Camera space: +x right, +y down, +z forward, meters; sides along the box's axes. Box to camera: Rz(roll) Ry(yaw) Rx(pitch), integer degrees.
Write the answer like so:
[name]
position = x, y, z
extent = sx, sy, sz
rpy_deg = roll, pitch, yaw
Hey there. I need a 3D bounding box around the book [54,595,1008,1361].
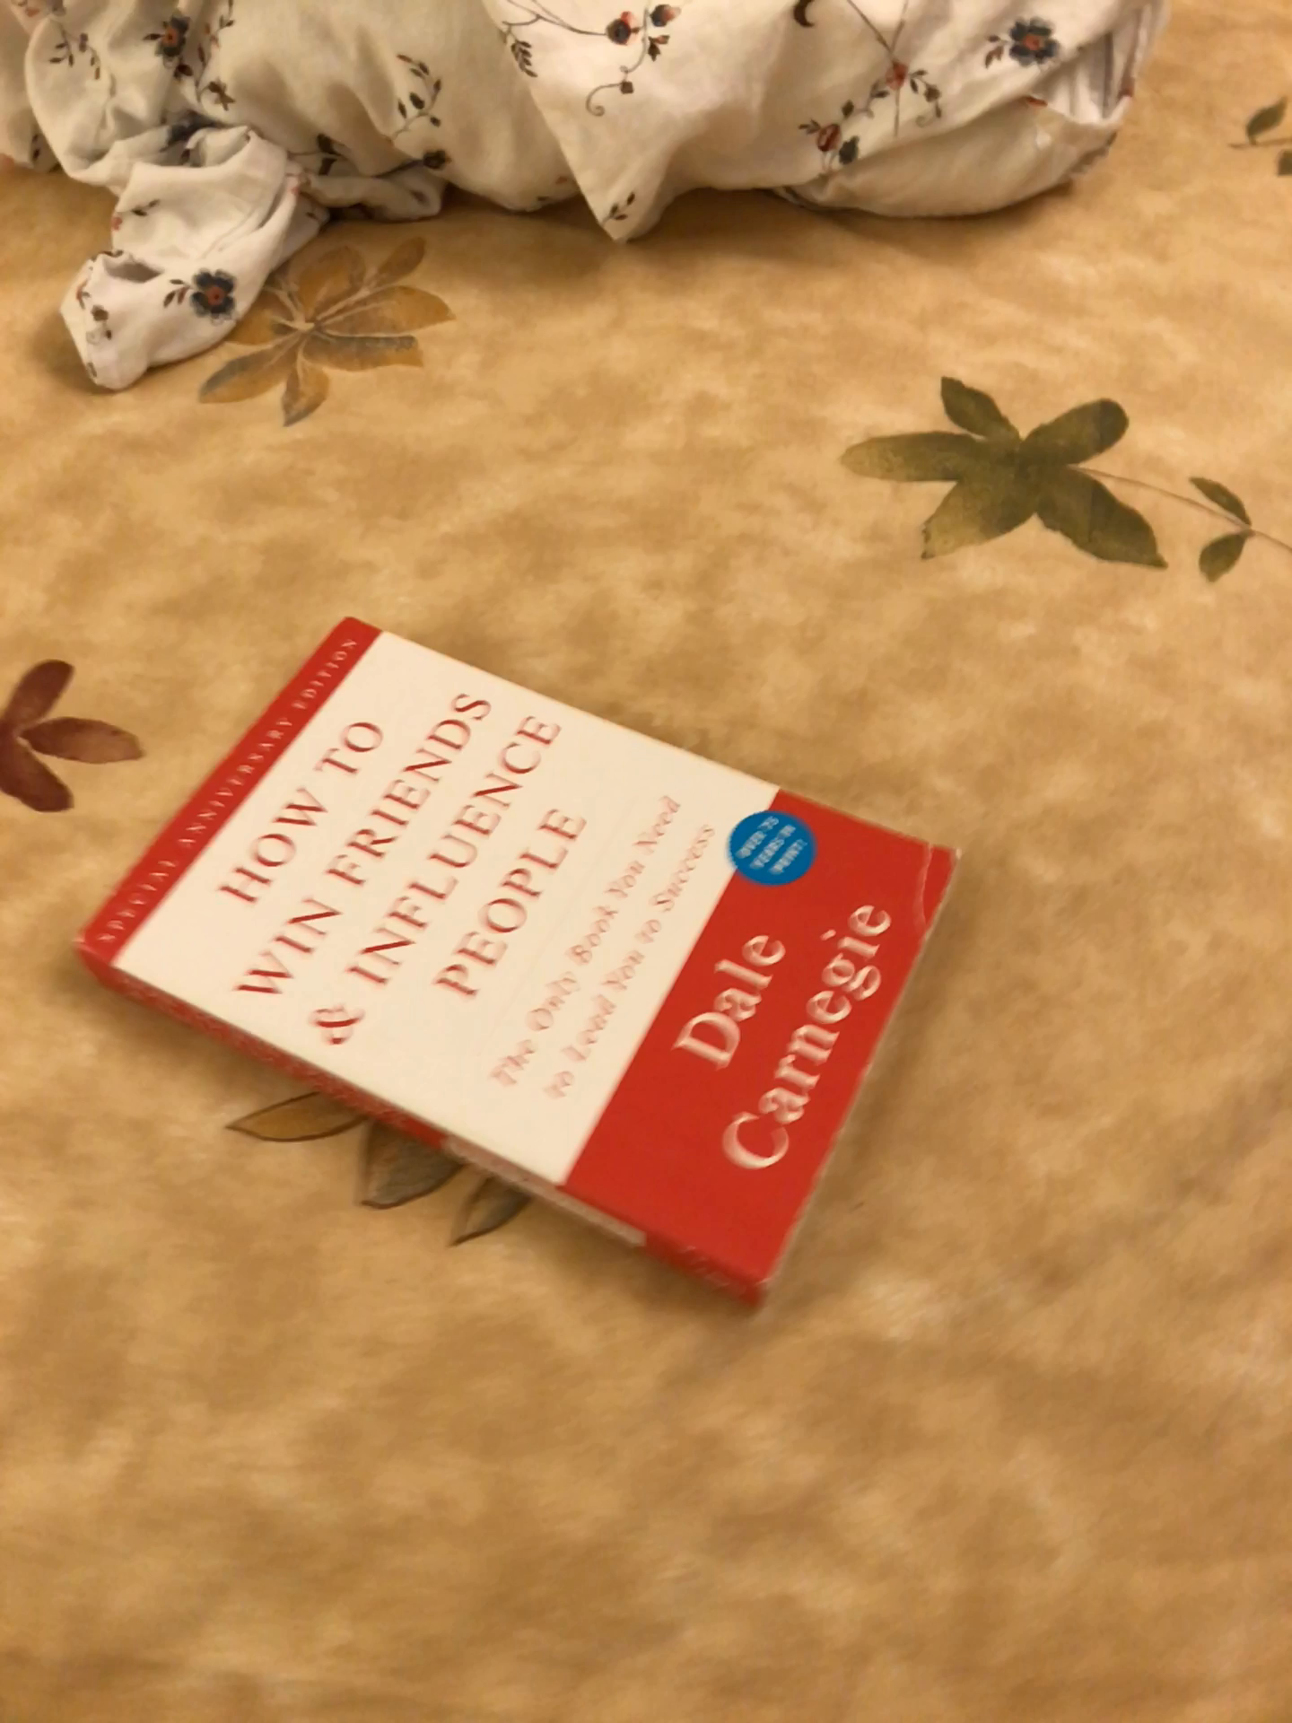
[book]
position = -0.029, 0.018, 0.399
extent = 0.220, 0.020, 0.151
rpy_deg = 23, 61, 14
